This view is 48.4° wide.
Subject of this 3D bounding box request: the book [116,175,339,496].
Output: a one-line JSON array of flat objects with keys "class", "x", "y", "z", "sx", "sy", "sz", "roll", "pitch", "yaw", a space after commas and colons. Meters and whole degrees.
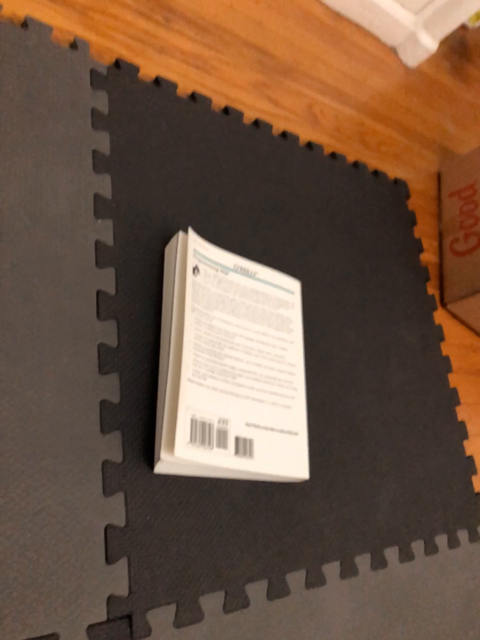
[{"class": "book", "x": 0.001, "y": 0.023, "z": 0.558, "sx": 0.231, "sy": 0.040, "sz": 0.291, "roll": 17, "pitch": 62, "yaw": -34}]
